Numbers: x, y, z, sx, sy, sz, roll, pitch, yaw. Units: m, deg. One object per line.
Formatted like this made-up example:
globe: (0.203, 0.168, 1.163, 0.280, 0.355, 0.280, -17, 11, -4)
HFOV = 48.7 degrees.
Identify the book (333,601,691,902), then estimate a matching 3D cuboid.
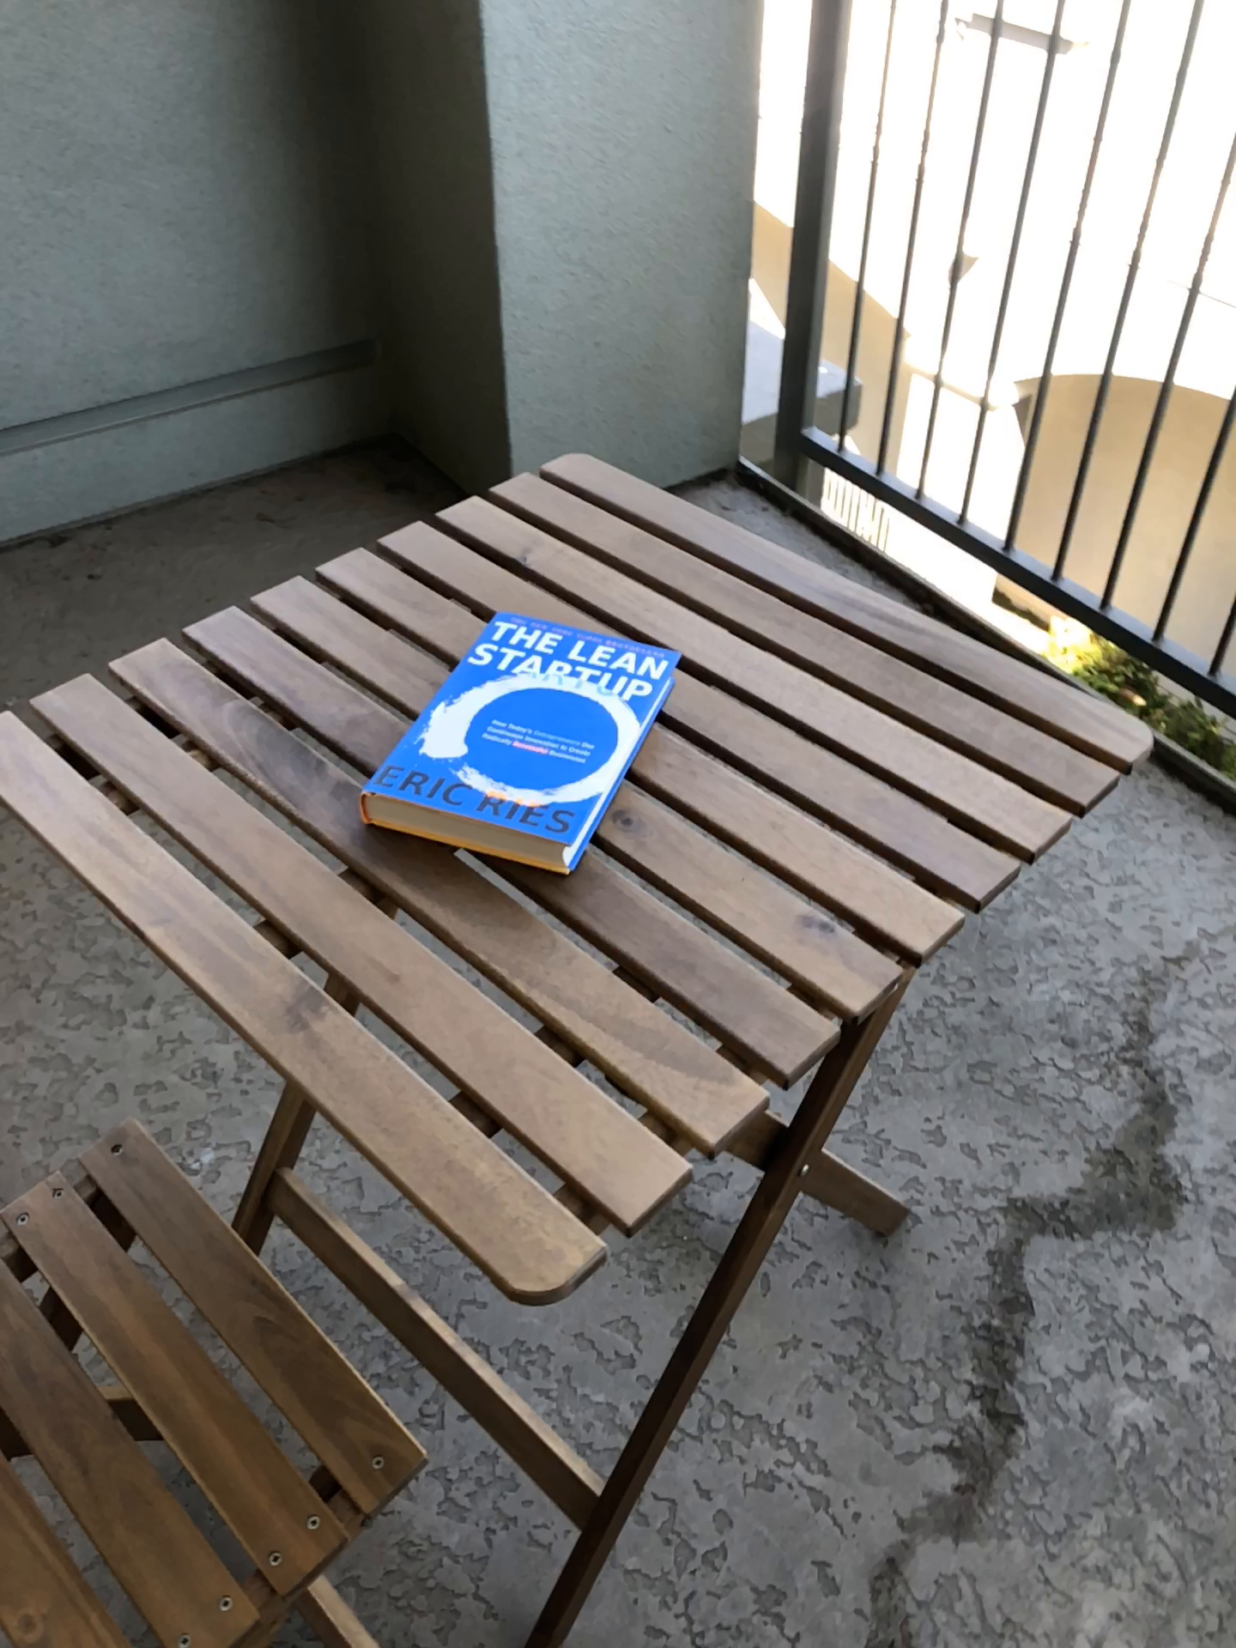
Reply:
book: (-0.064, -0.059, 0.932, 0.160, 0.040, 0.231, 15, 45, 16)
